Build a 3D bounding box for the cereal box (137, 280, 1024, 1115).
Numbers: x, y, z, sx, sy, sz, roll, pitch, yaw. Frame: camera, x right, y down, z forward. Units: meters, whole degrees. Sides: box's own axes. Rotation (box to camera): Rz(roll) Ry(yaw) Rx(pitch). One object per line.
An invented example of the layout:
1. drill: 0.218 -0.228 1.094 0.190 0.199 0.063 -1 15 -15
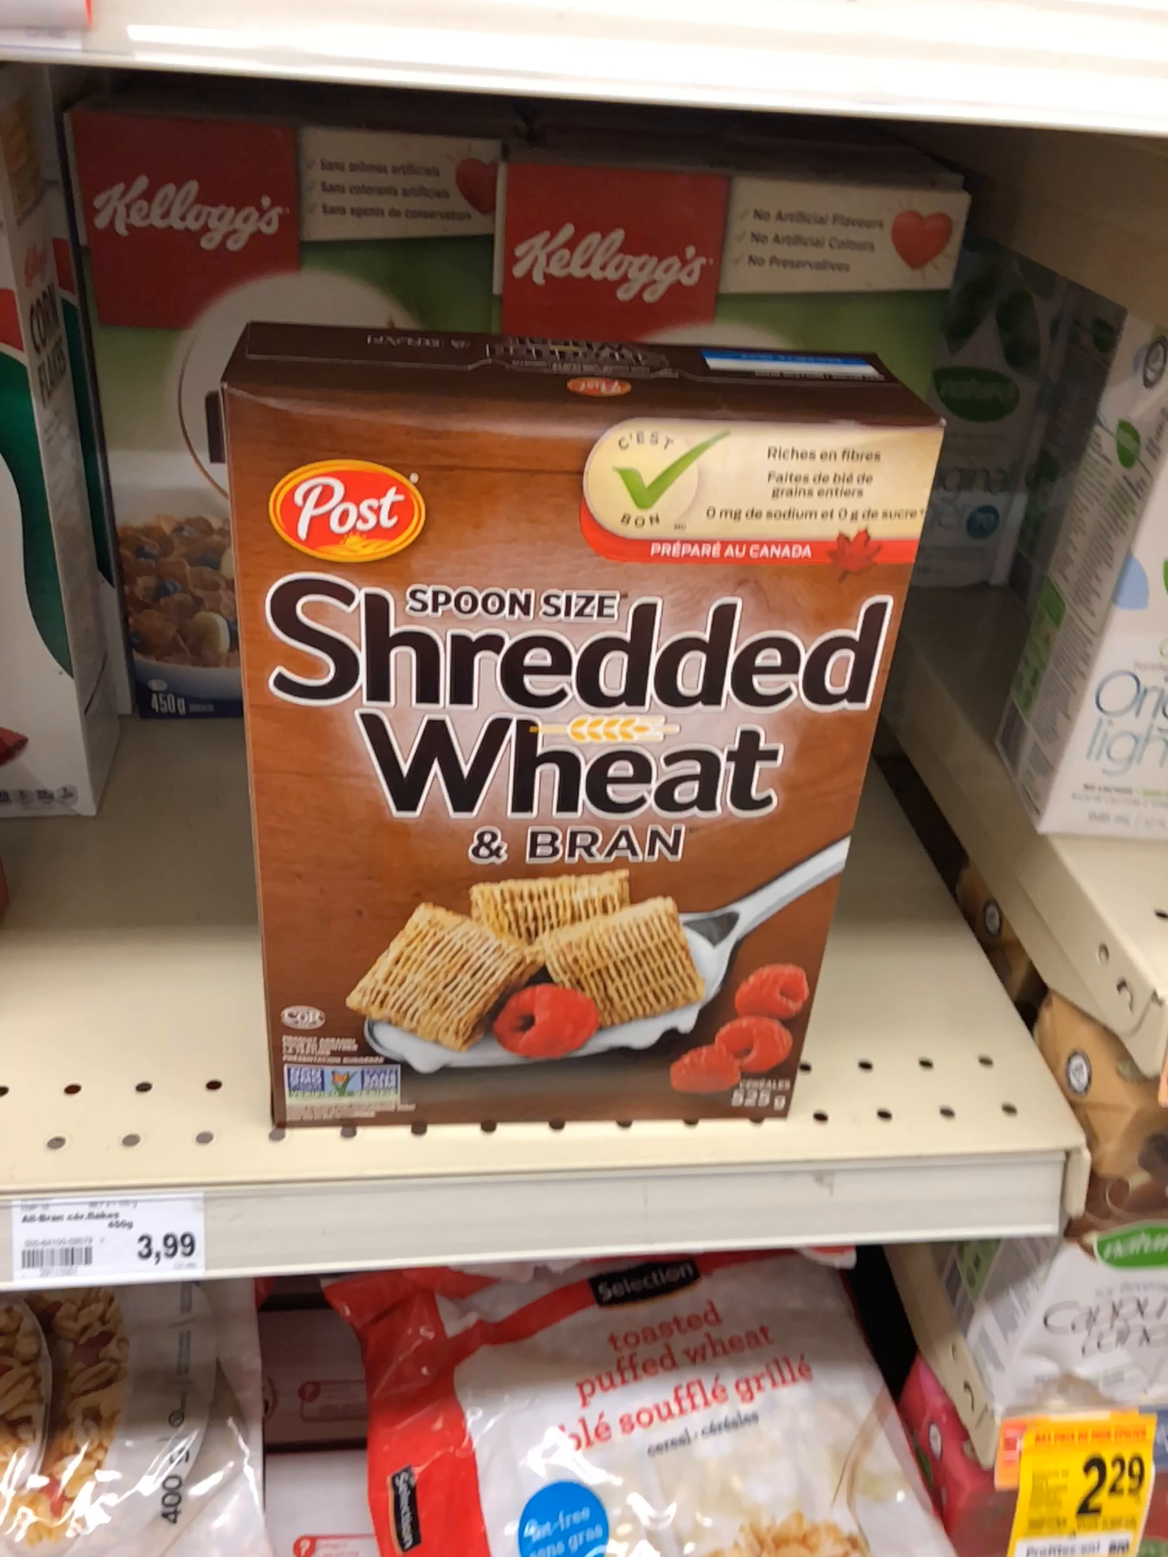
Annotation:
1. cereal box: -0.008 -0.011 0.400 0.210 0.248 0.071 1 33 -6
